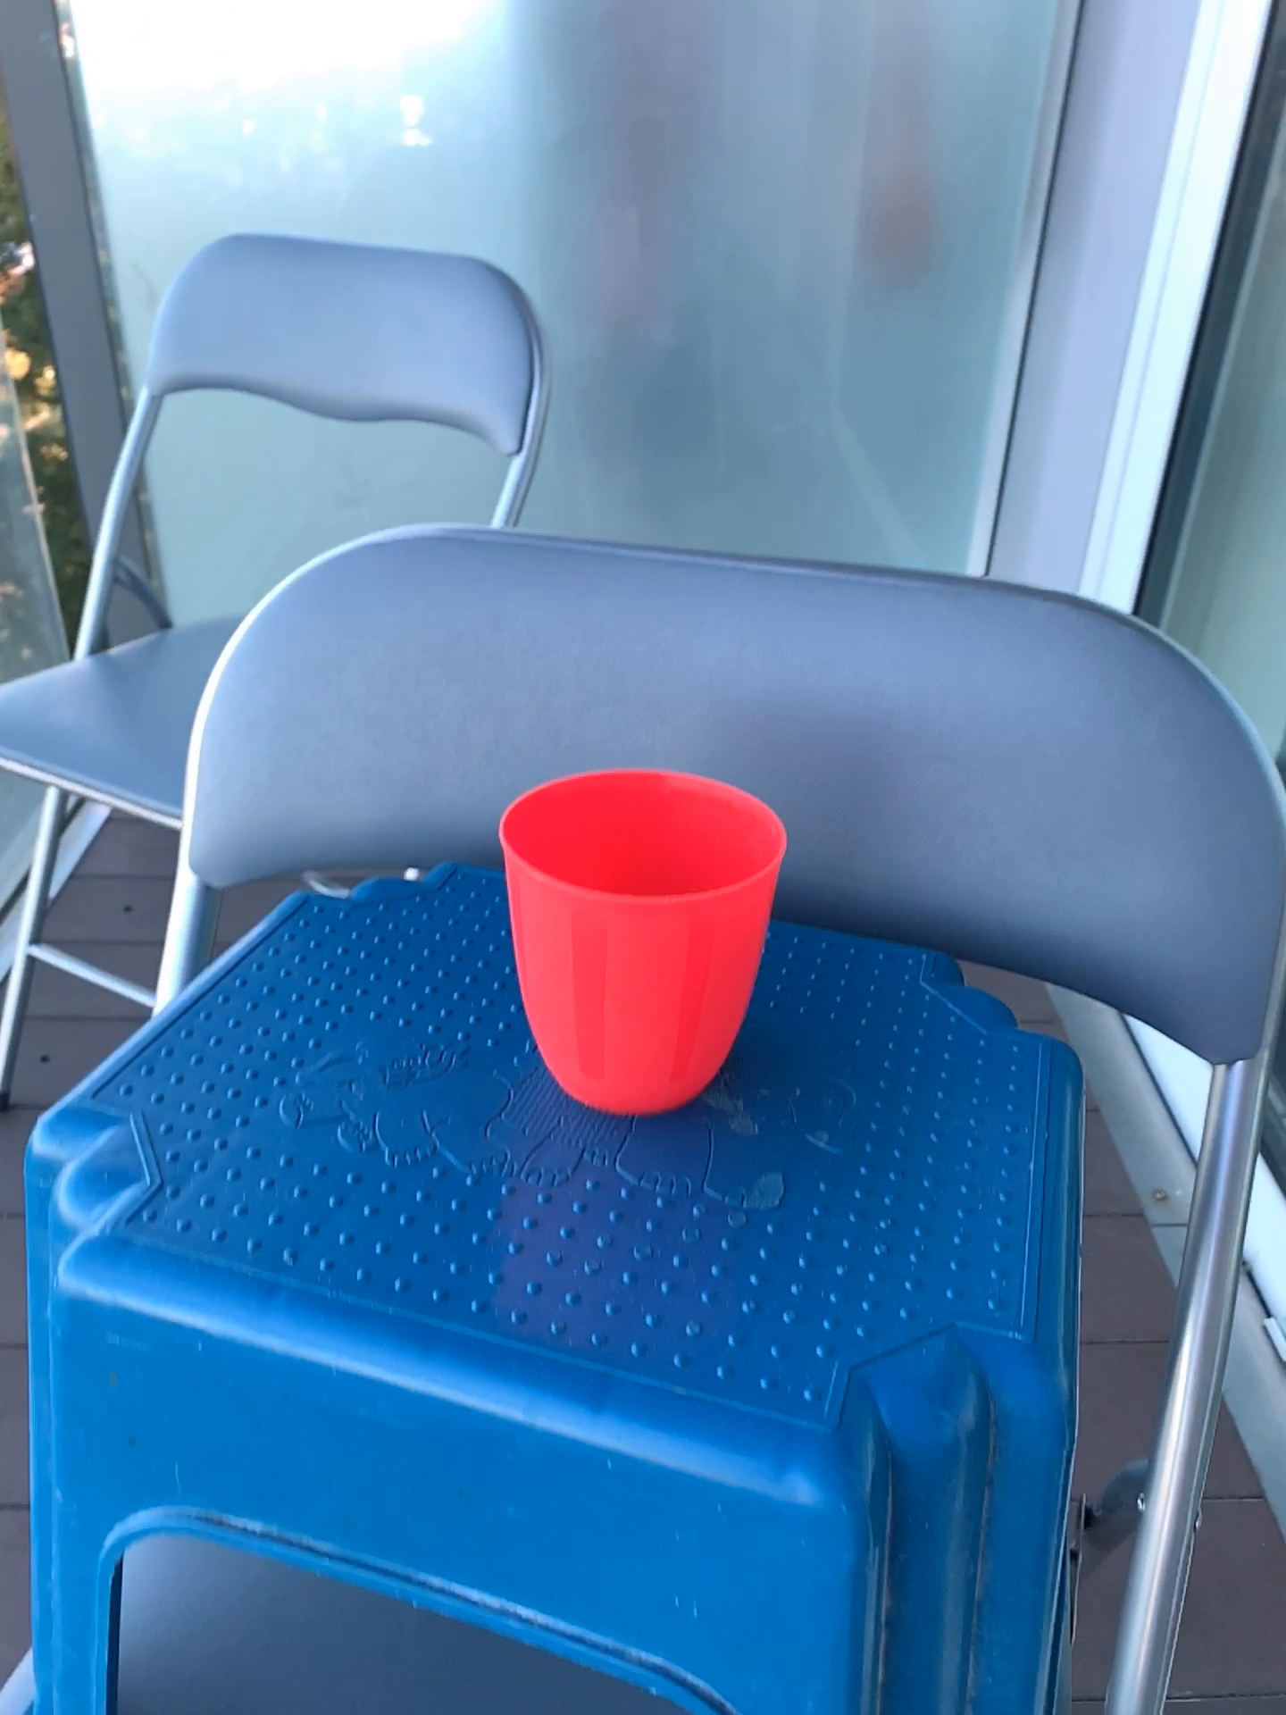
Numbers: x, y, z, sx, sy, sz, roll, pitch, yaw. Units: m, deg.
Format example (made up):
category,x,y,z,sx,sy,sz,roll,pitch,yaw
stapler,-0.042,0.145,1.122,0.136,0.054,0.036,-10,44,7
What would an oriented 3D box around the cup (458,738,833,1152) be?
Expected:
category,x,y,z,sx,sy,sz,roll,pitch,yaw
cup,0.003,0.022,0.387,0.086,0.077,0.074,11,33,14
